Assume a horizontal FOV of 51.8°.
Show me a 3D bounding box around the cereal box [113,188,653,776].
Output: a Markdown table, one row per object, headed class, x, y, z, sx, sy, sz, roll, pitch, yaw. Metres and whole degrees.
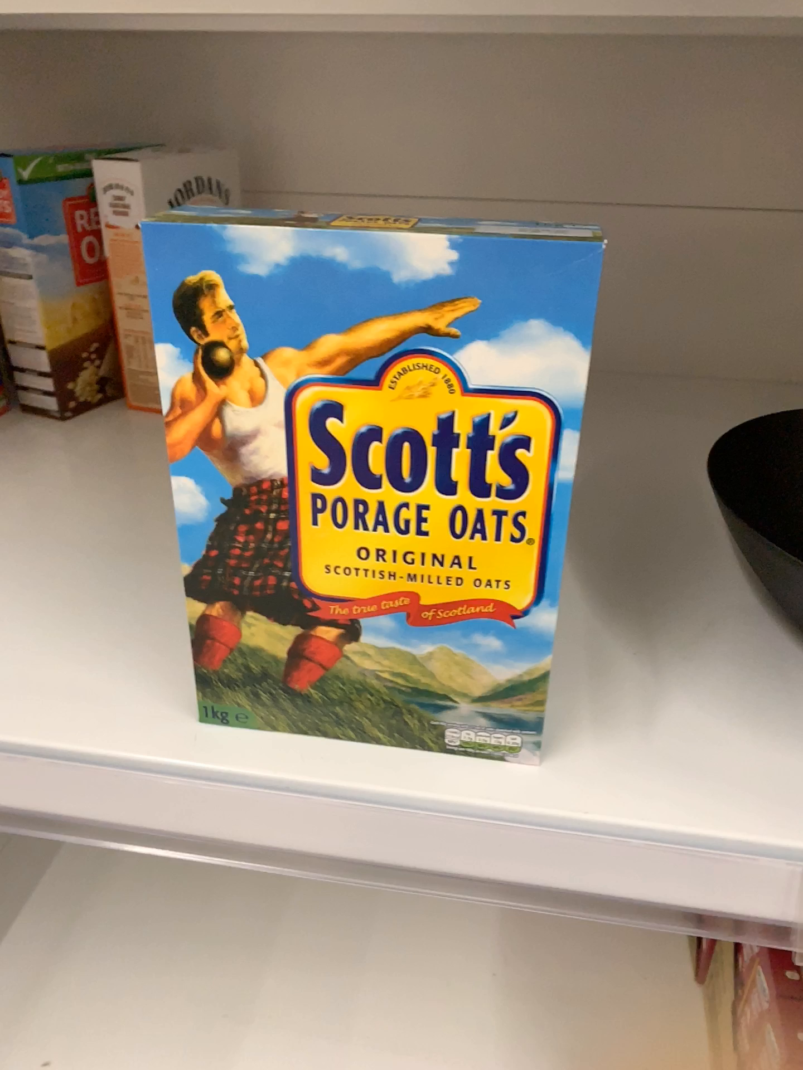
| class | x | y | z | sx | sy | sz | roll | pitch | yaw |
| --- | --- | --- | --- | --- | --- | --- | --- | --- | --- |
| cereal box | -0.008 | -0.020 | 0.410 | 0.210 | 0.268 | 0.071 | 5 | 29 | 8 |
